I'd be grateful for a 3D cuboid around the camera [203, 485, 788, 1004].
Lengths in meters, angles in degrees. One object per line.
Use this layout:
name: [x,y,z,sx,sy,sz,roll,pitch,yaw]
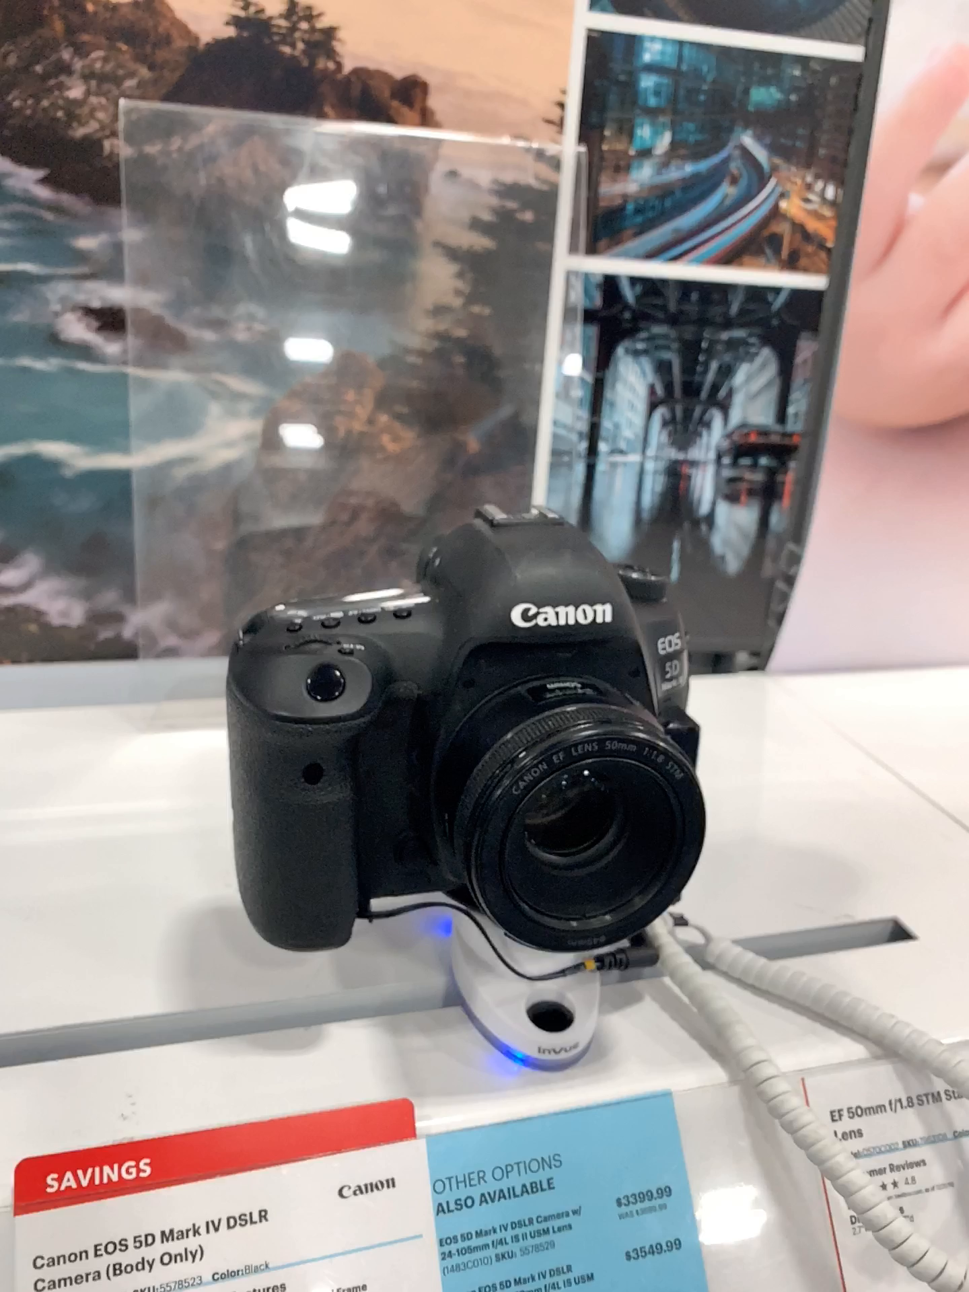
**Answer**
camera: [-0.009,0.017,0.303,0.140,0.106,0.112,-2,22,-15]
